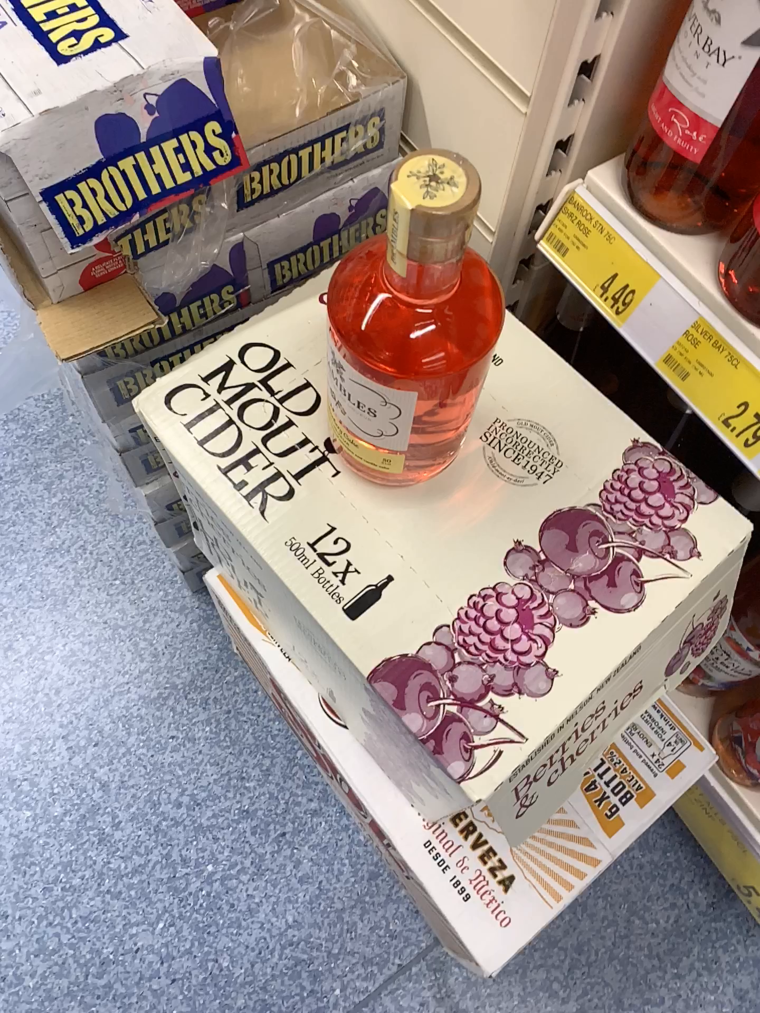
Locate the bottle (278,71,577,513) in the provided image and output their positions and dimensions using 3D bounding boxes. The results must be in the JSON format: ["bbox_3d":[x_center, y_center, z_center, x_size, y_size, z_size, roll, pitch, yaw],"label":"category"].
[{"bbox_3d":[0.011,-0.081,0.352,0.076,0.176,0.077,1,65,-3],"label":"bottle"}]
